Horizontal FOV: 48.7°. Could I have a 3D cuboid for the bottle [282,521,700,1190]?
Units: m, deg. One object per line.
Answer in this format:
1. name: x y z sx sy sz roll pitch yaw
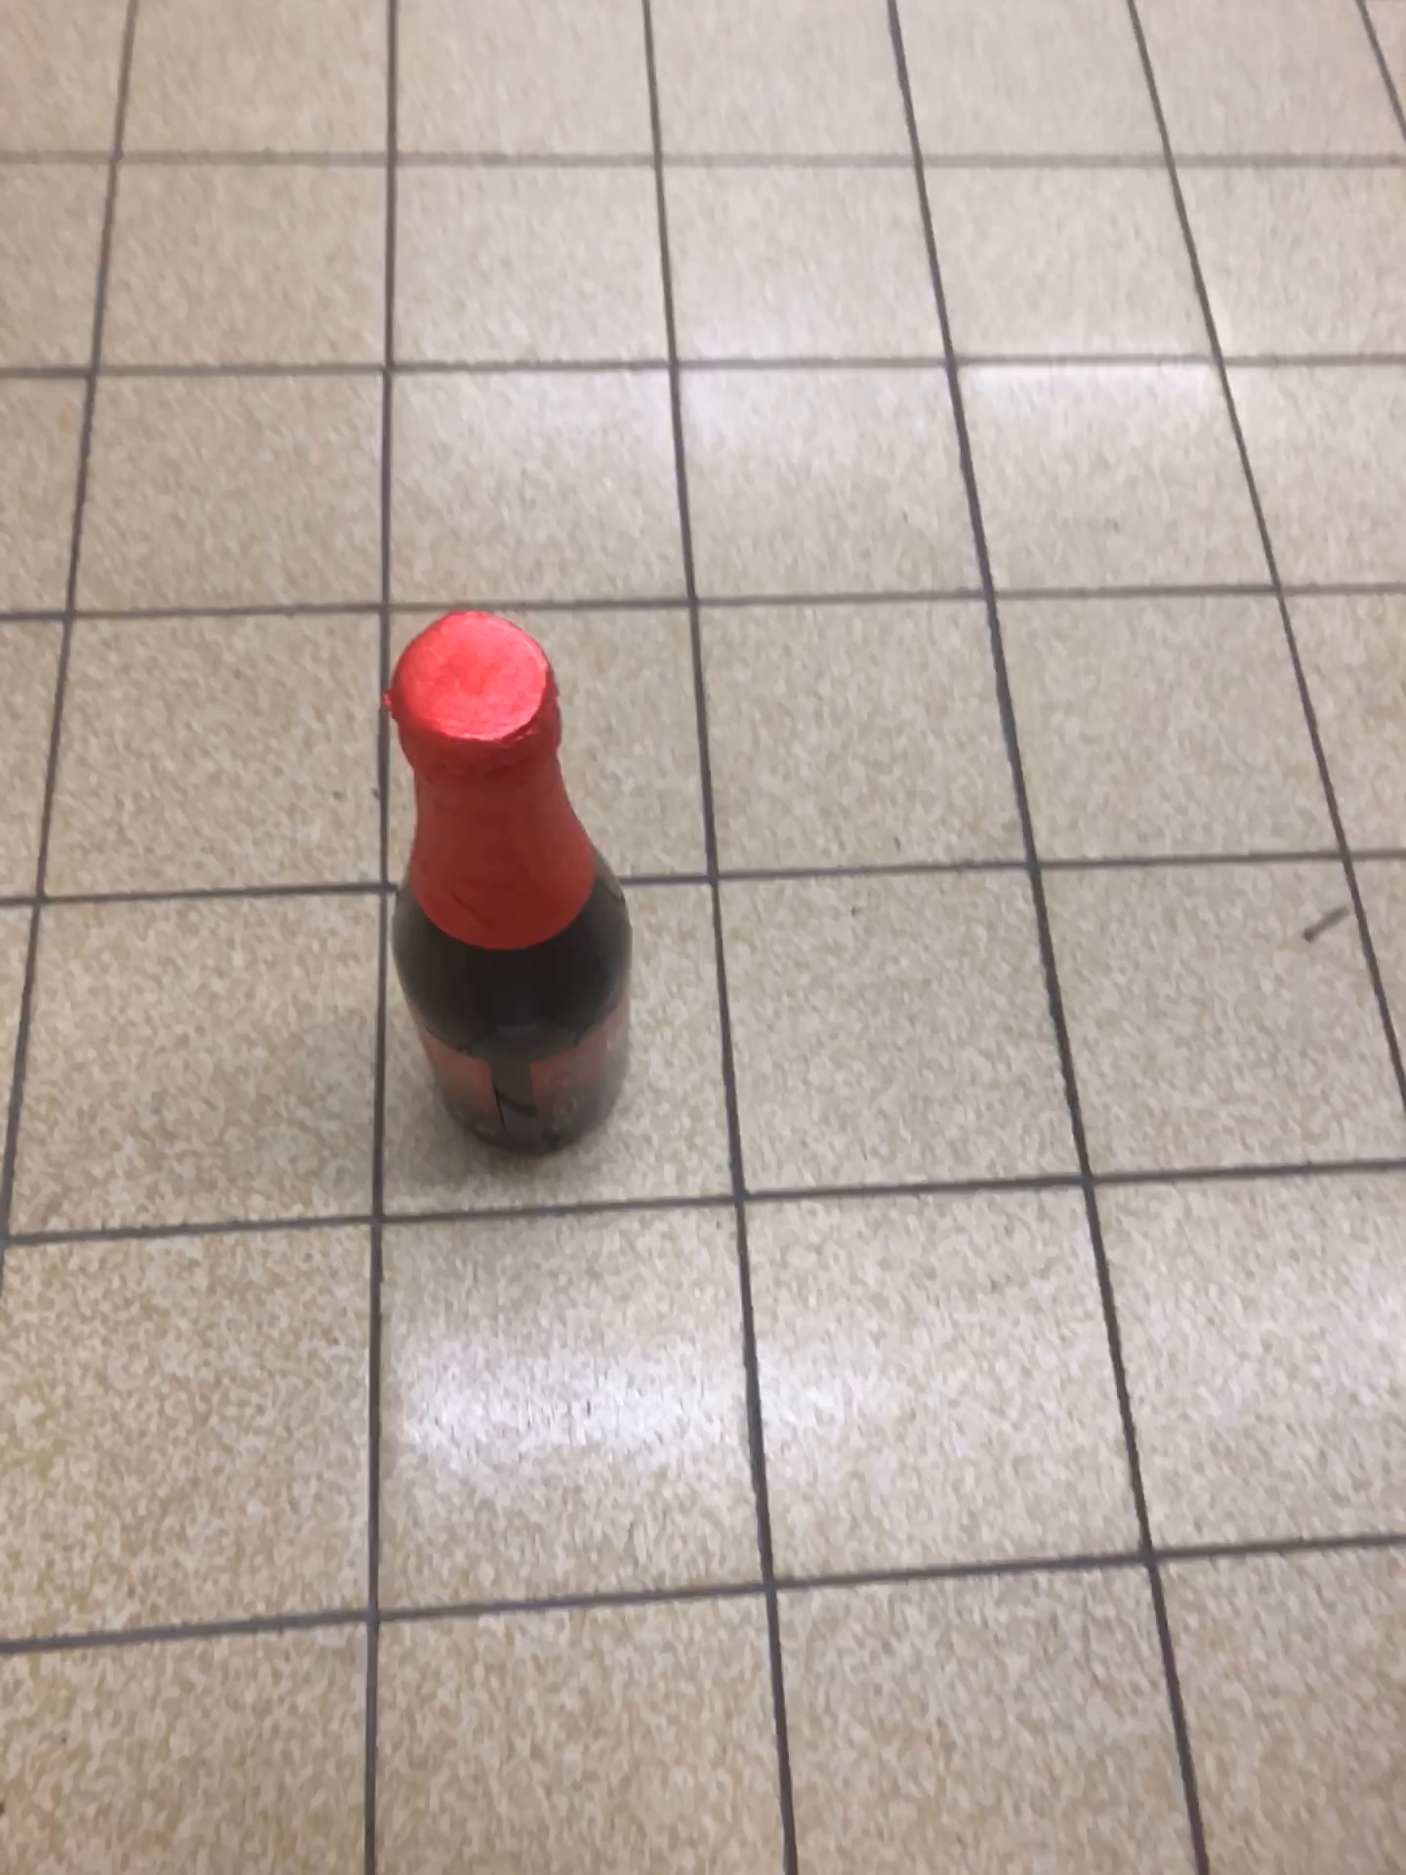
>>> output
1. bottle: -0.041 -0.002 0.345 0.060 0.199 0.060 1 67 -3
